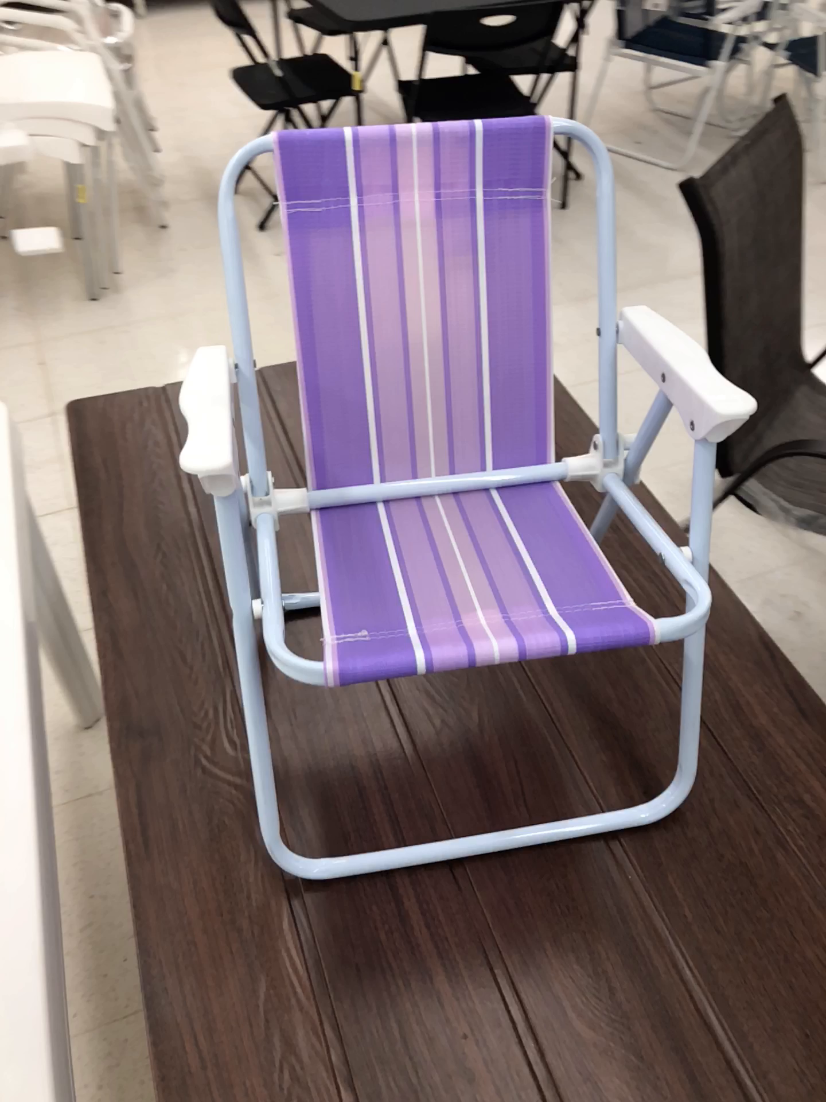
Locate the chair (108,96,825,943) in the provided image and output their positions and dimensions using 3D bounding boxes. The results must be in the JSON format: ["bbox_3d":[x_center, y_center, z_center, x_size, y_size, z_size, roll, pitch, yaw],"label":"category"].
[{"bbox_3d":[0.050,-0.030,0.680,0.420,0.437,0.392,-7,45,-7],"label":"chair"}]
